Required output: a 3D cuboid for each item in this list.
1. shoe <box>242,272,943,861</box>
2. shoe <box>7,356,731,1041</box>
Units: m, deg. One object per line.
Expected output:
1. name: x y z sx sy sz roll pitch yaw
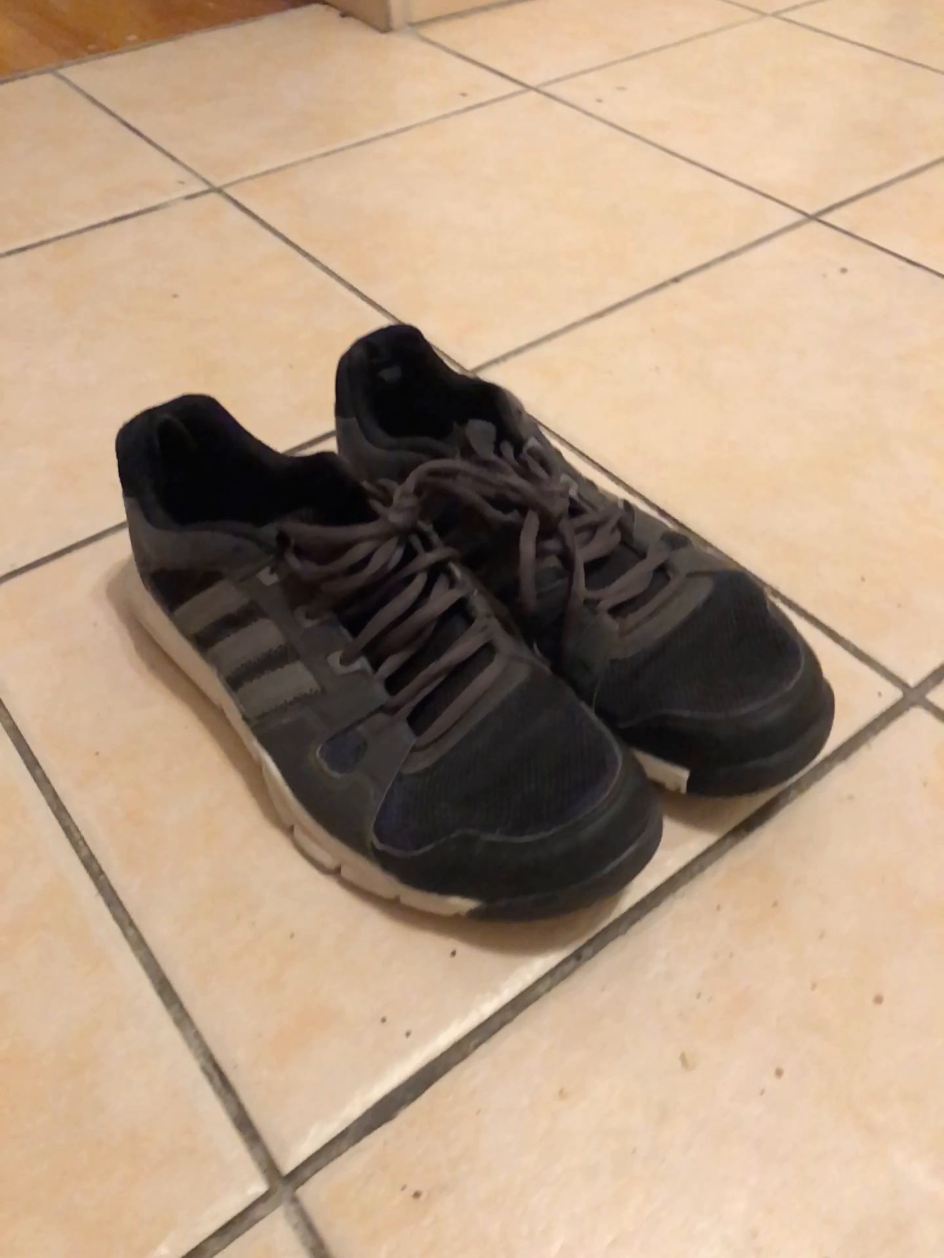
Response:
1. shoe: 0.038 -0.046 0.469 0.281 0.099 0.120 35 56 30
2. shoe: -0.054 0.006 0.418 0.110 0.099 0.281 -33 54 -32
